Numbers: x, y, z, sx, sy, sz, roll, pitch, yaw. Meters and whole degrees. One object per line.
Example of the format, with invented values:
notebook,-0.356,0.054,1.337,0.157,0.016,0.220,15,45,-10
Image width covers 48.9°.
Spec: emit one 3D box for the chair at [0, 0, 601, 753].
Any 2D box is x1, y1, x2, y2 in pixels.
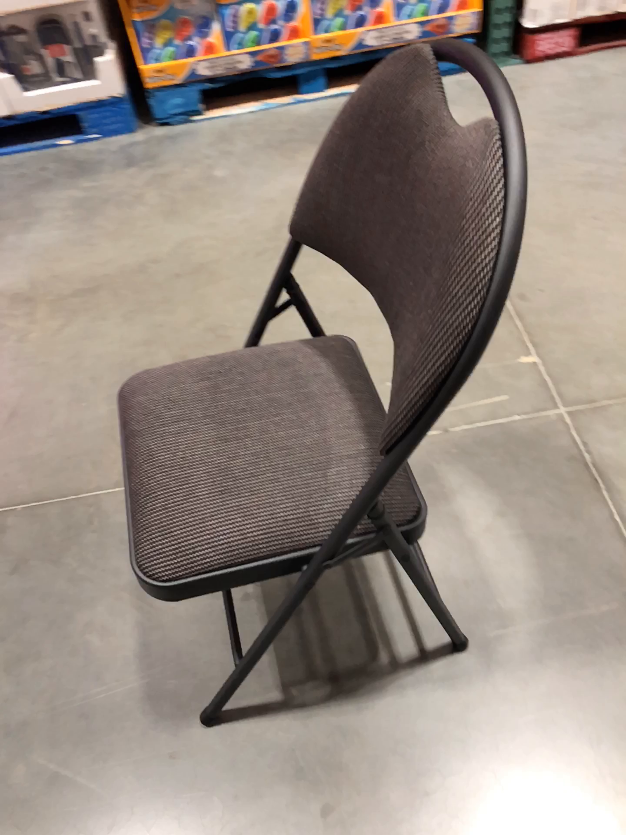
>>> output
chair,-0.084,-0.007,0.958,0.560,0.867,0.522,-15,49,-4
